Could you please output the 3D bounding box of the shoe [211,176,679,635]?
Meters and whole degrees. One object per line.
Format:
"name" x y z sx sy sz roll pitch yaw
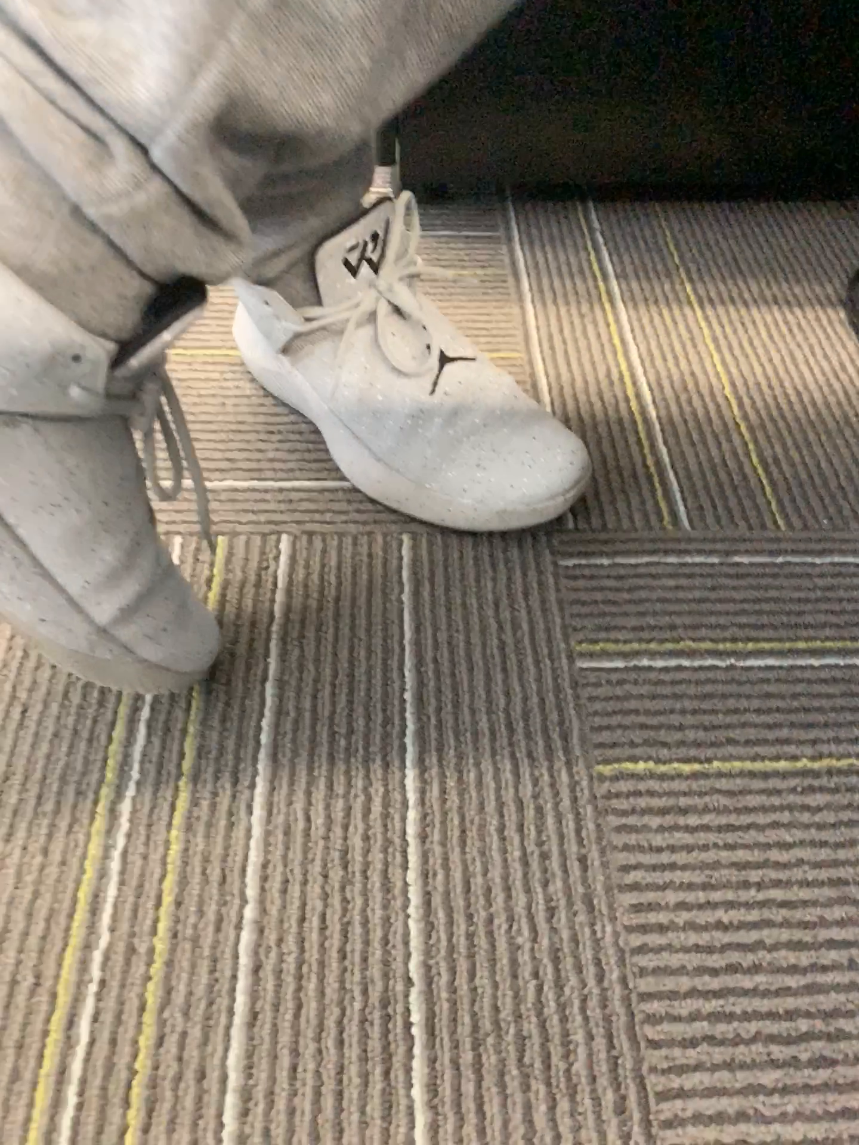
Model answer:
"shoe" -0.002 -0.122 0.599 0.130 0.149 0.281 -36 61 -27

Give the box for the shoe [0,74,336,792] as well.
"shoe" -0.175 -0.043 0.396 0.120 0.279 0.120 -33 42 0
